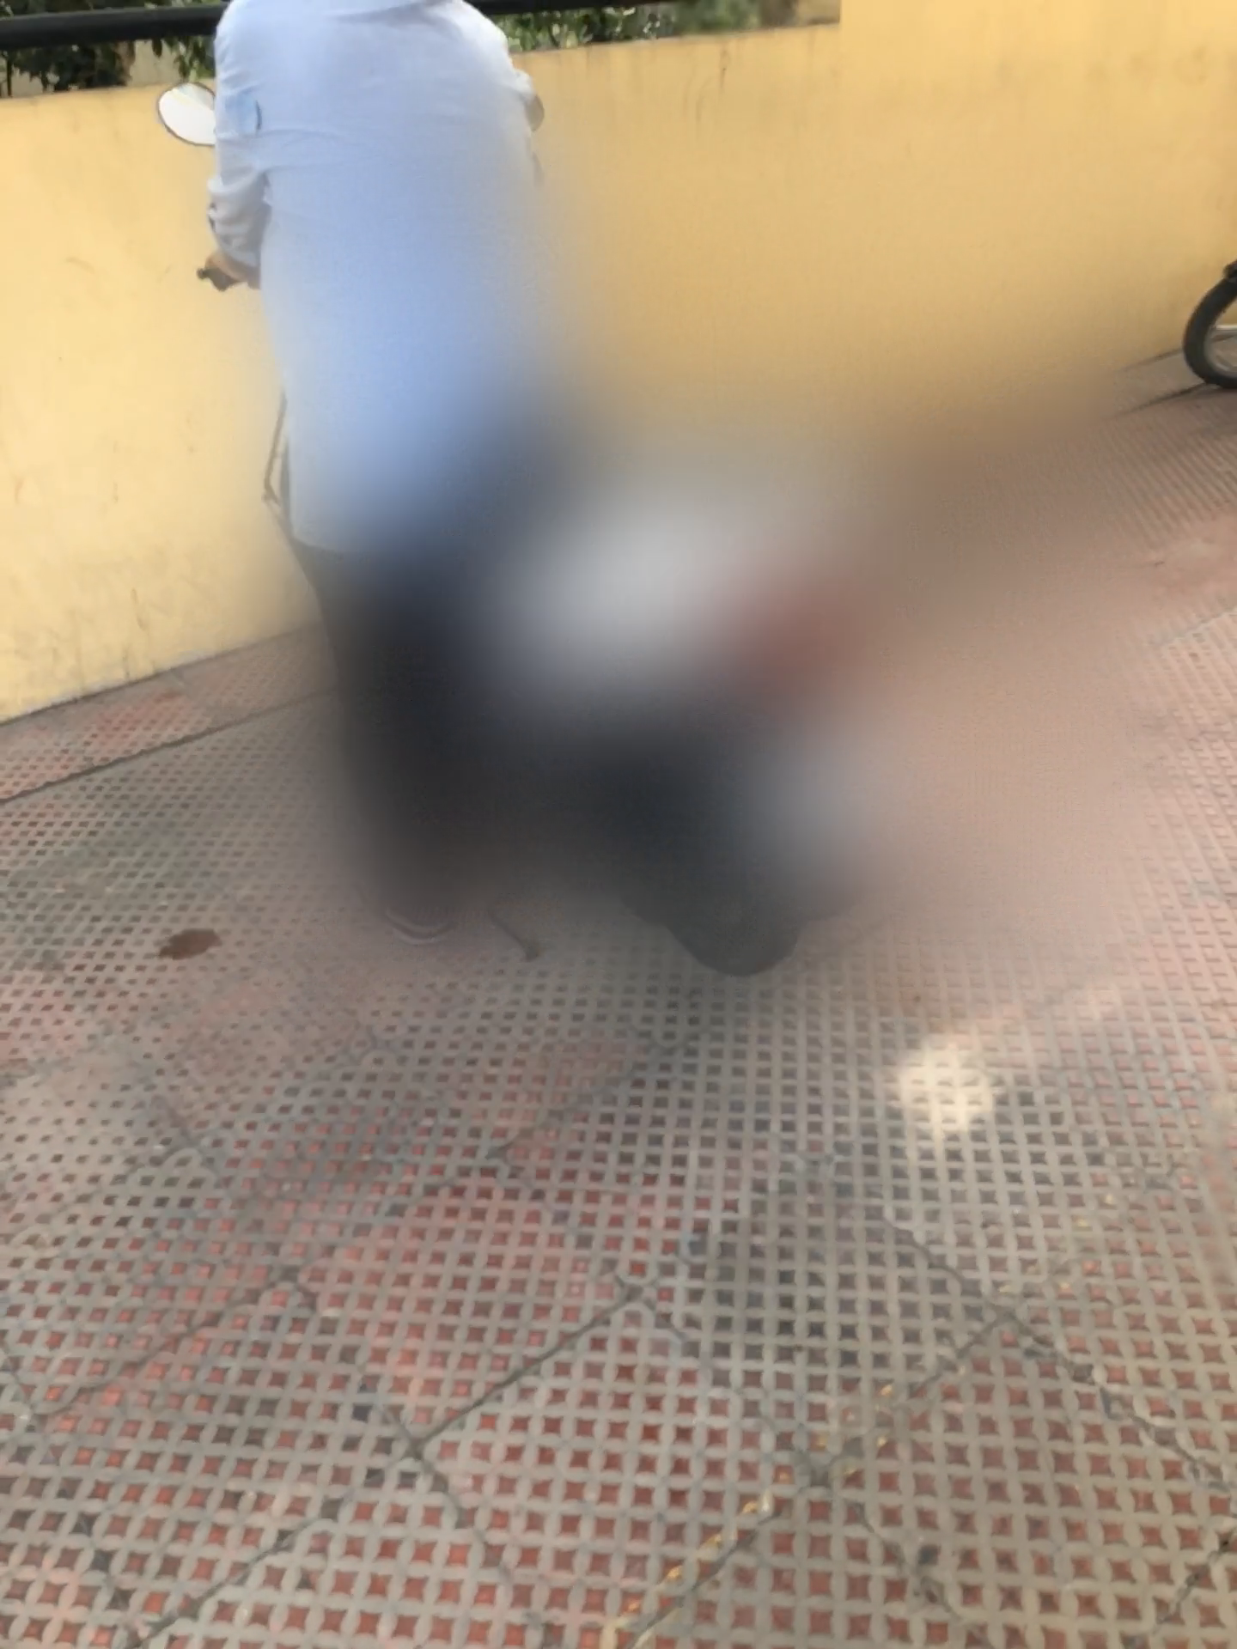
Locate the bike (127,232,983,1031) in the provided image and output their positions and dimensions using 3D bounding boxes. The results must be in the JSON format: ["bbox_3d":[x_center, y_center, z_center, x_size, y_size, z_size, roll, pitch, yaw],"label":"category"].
[{"bbox_3d":[-0.225,-0.486,2.268,0.601,0.816,1.613,-21,33,-25],"label":"bike"}]
